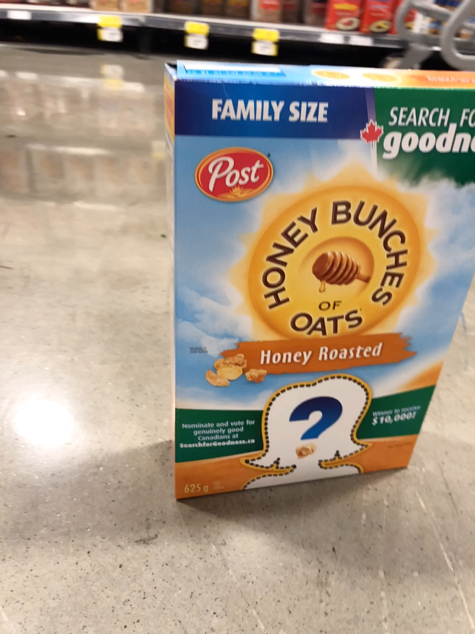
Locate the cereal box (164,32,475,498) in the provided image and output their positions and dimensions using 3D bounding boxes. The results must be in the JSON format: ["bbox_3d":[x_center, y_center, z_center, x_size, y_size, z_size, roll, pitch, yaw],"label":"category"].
[{"bbox_3d":[0.058,-0.017,0.372,0.210,0.309,0.070,-4,33,-12],"label":"cereal box"}]
